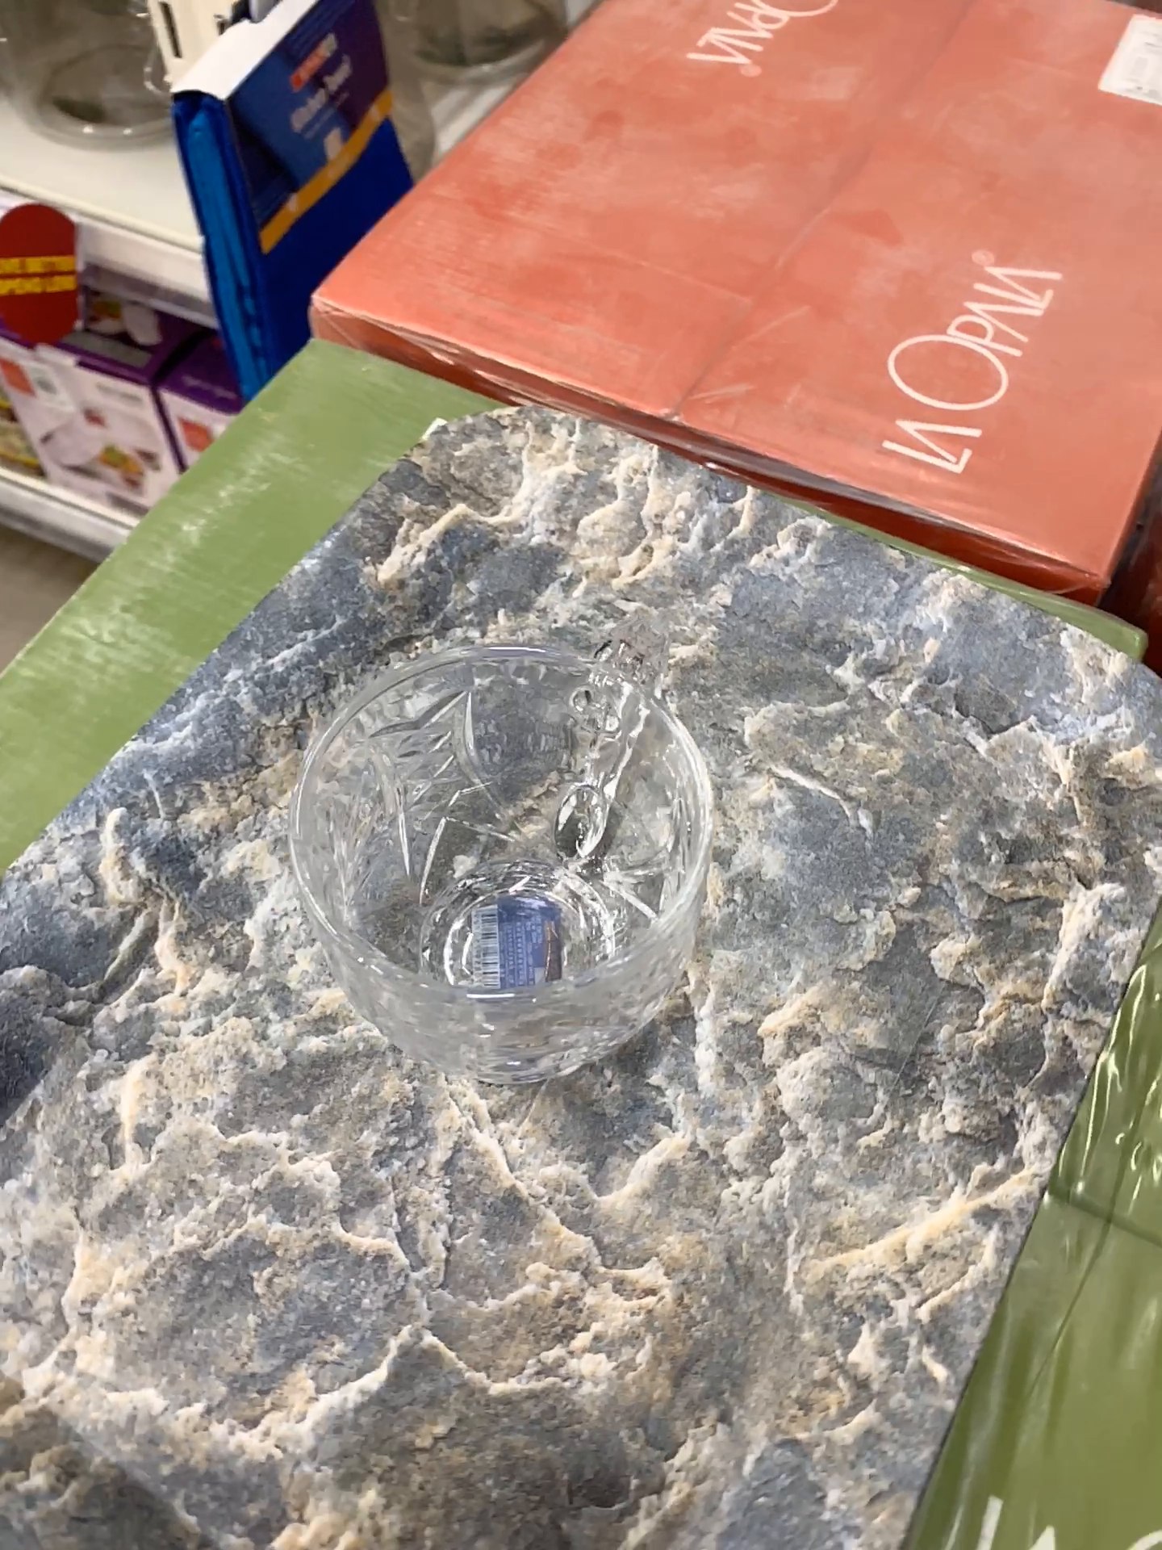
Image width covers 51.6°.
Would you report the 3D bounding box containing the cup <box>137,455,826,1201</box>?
[{"bbox_3d":[-0.011,0.009,0.226,0.080,0.070,0.100,18,60,11],"label":"cup"}]
